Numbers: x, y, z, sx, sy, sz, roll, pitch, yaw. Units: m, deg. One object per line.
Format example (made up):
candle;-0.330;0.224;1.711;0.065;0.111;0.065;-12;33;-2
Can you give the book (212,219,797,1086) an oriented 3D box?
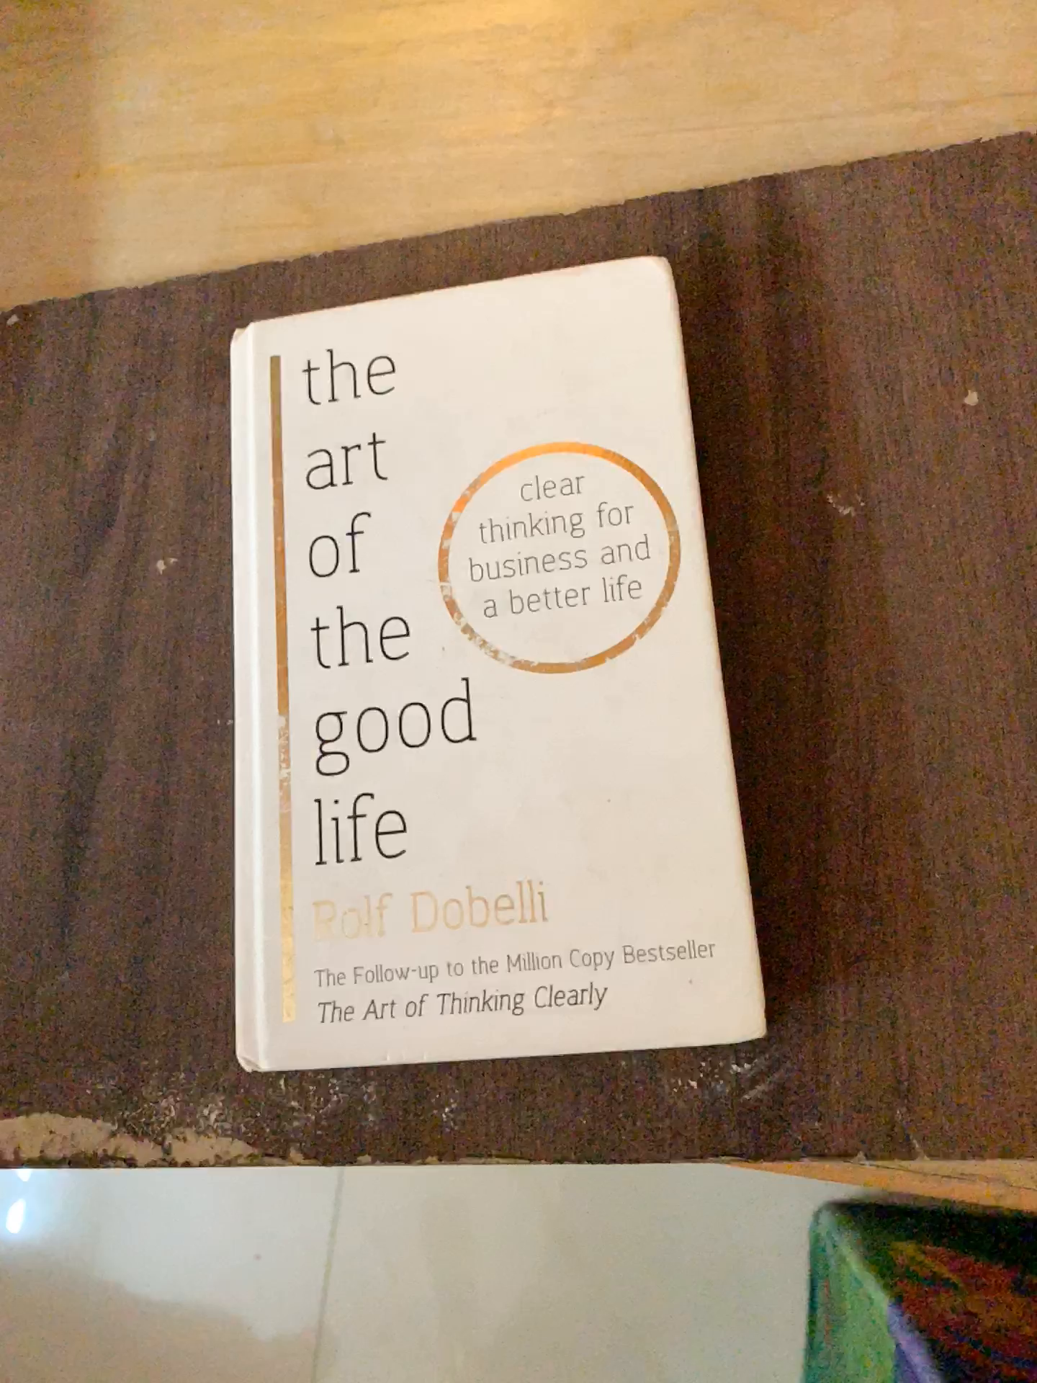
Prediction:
book;-0.007;-0.008;0.251;0.117;0.037;0.180;-6;78;10
